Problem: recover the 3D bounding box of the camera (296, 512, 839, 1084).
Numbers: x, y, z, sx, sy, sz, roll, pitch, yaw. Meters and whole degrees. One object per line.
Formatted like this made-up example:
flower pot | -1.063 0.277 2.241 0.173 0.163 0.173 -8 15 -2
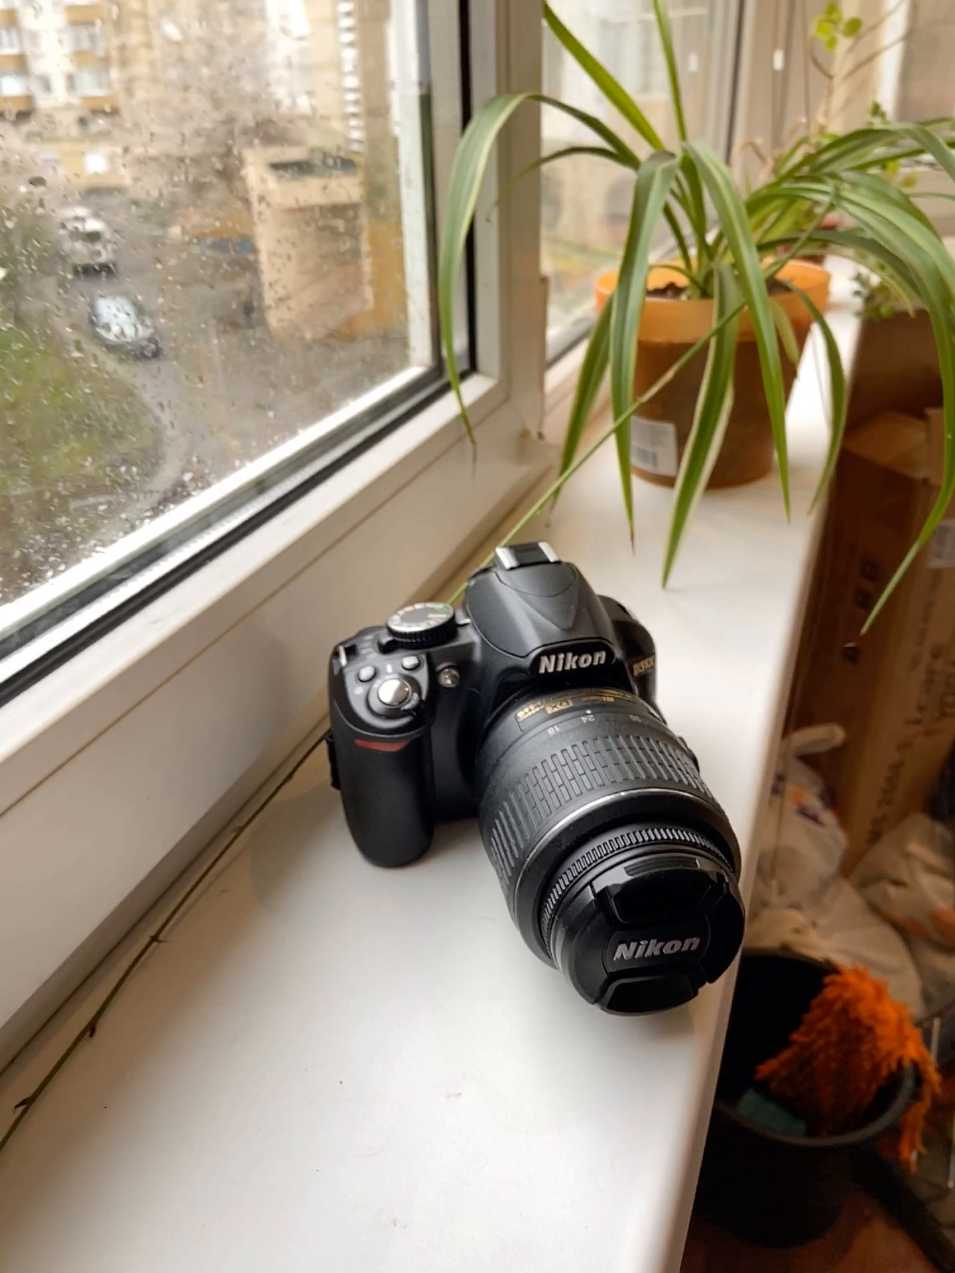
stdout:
camera | 0.014 0.037 0.326 0.124 0.091 0.155 -8 30 -11
